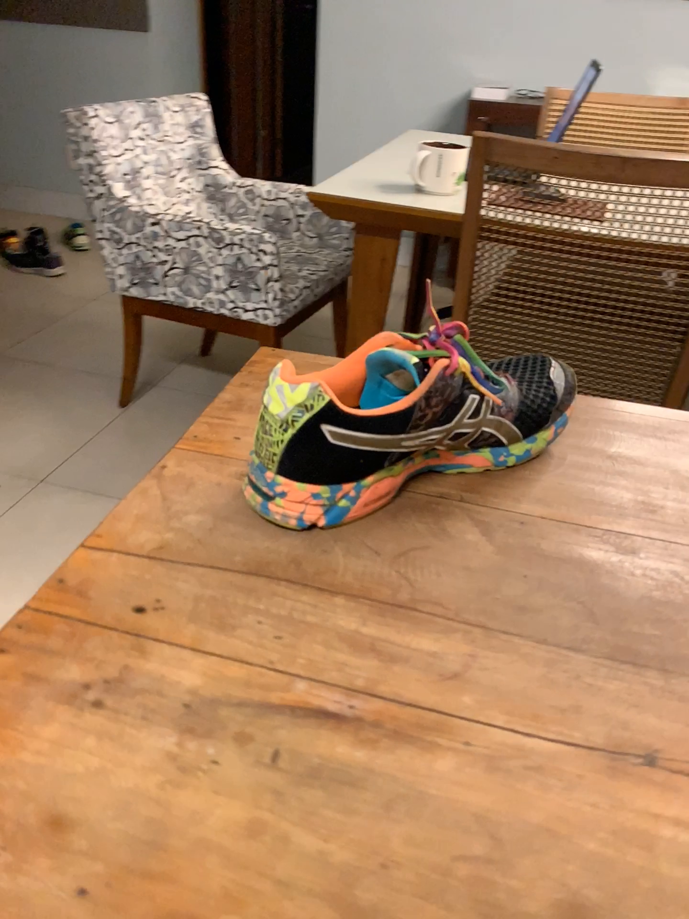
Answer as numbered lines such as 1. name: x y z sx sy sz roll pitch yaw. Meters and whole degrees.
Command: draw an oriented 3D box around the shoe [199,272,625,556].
1. shoe: 0.059 -0.052 0.540 0.313 0.112 0.108 -18 39 -30
